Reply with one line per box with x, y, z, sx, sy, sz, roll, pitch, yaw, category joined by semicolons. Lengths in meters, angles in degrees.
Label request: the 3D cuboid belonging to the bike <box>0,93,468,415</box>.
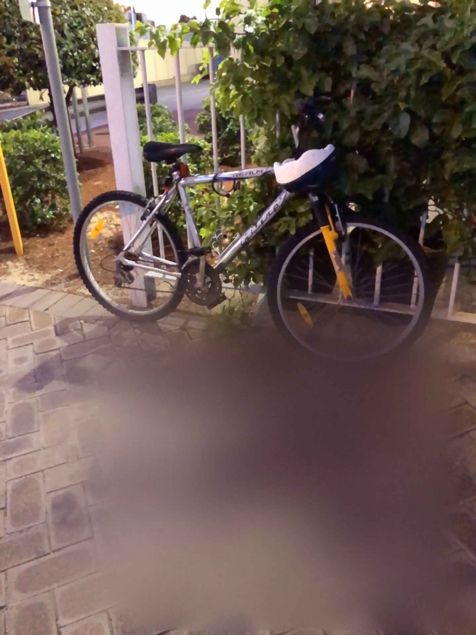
-0.048;-0.357;2.150;1.693;0.995;0.554;9;28;22;bike
